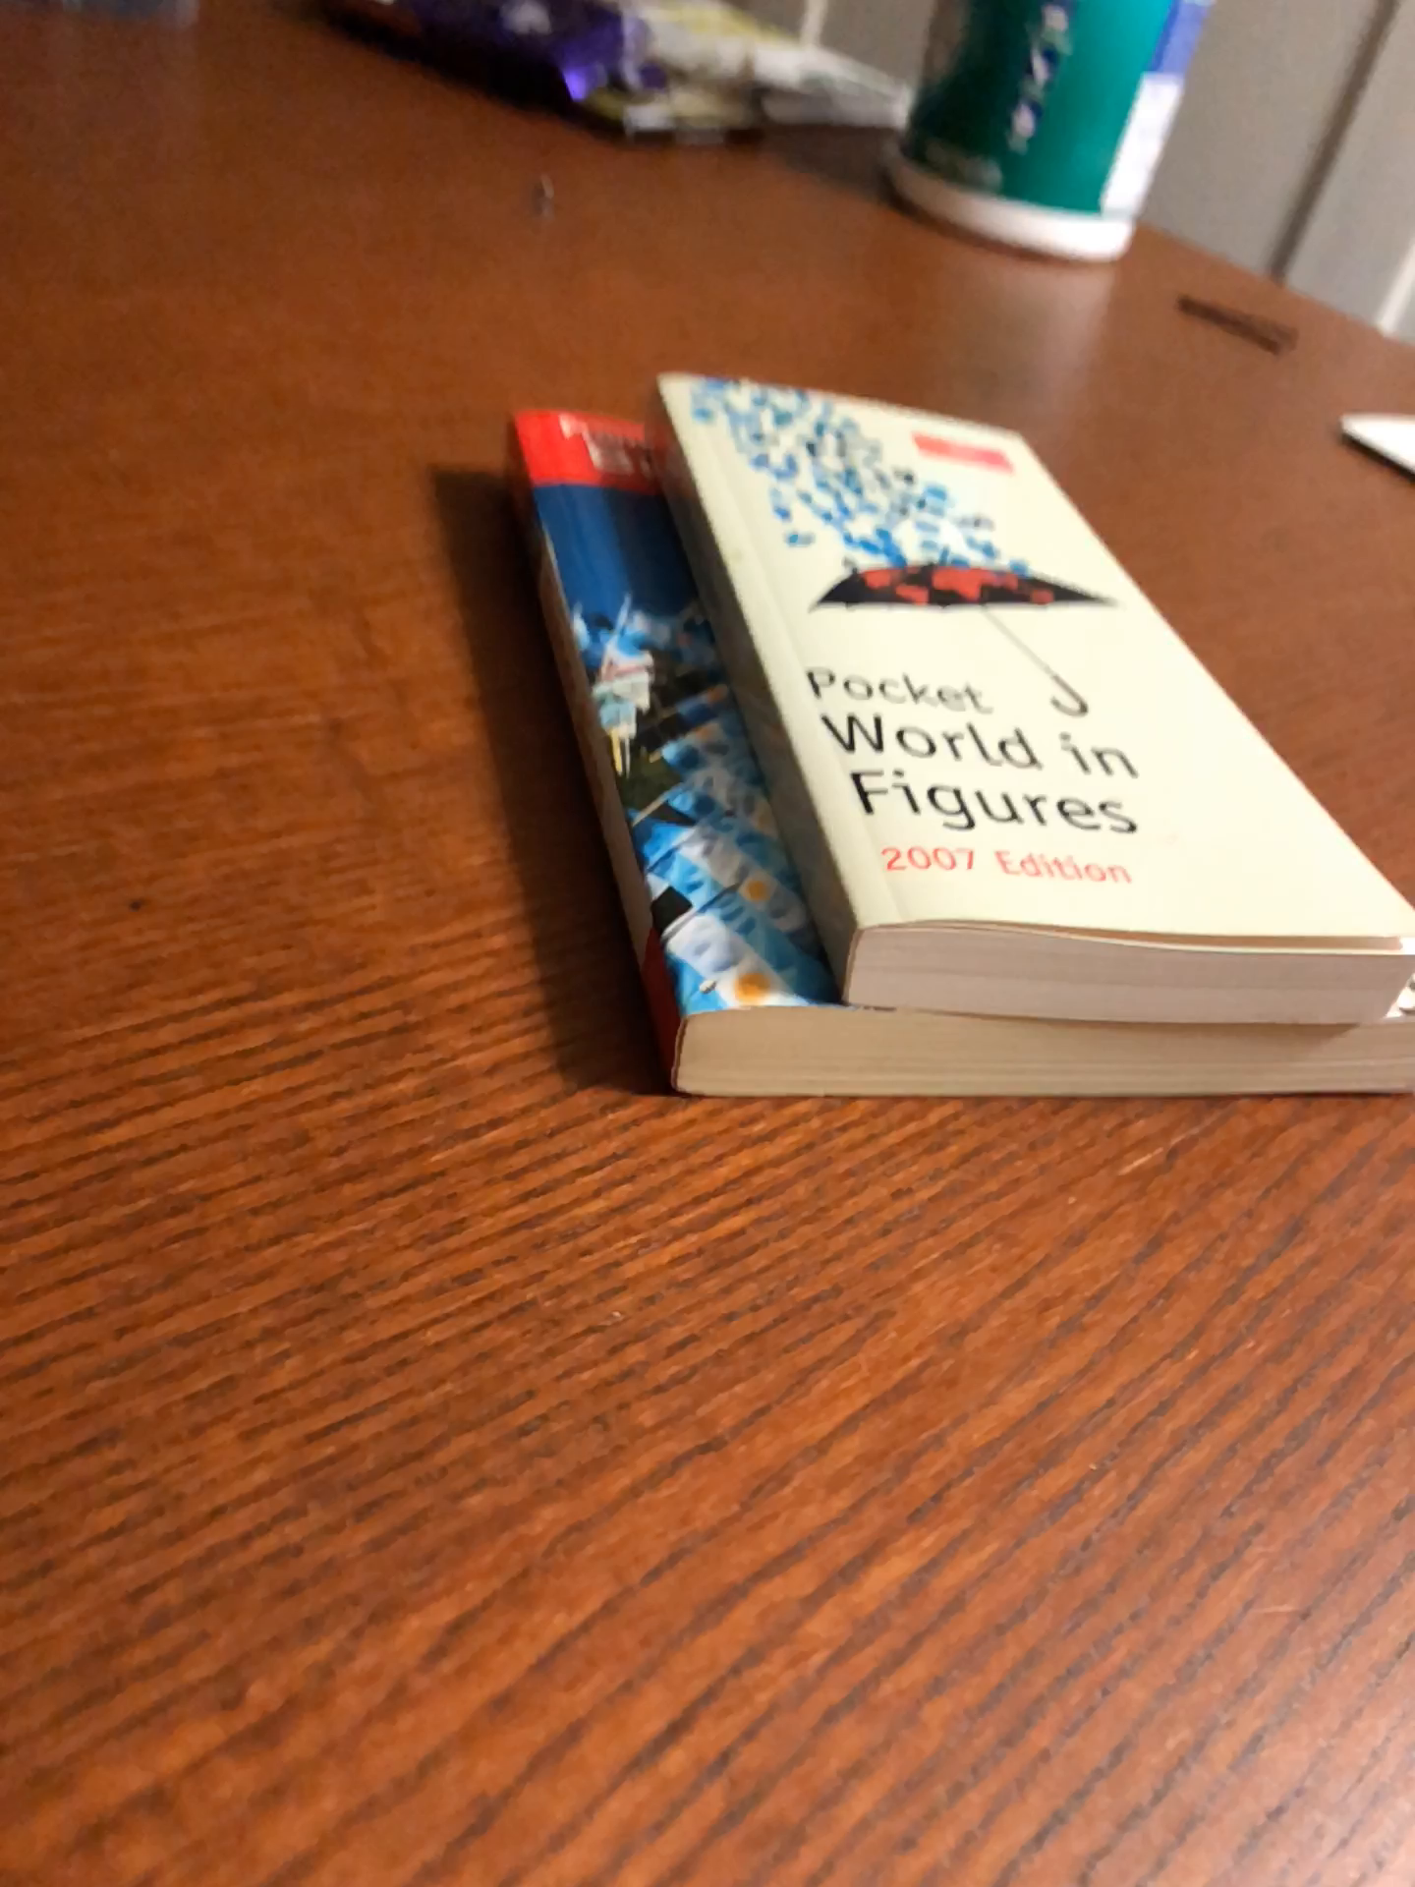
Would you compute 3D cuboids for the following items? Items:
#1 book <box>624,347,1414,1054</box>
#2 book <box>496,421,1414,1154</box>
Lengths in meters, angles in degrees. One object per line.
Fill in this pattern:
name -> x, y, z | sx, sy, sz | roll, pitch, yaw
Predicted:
book -> 0.047, -0.058, 0.294 | 0.100, 0.020, 0.201 | 3, 39, -15
book -> 0.040, -0.044, 0.314 | 0.140, 0.020, 0.211 | 2, 39, -17
